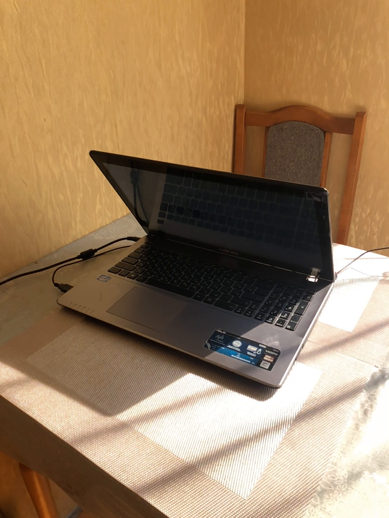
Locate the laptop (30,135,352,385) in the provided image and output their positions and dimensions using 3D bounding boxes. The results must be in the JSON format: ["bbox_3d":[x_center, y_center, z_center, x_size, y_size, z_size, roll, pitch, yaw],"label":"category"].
[{"bbox_3d":[0.001,-0.033,0.629,0.364,0.197,0.241,15,35,27],"label":"laptop"}]
